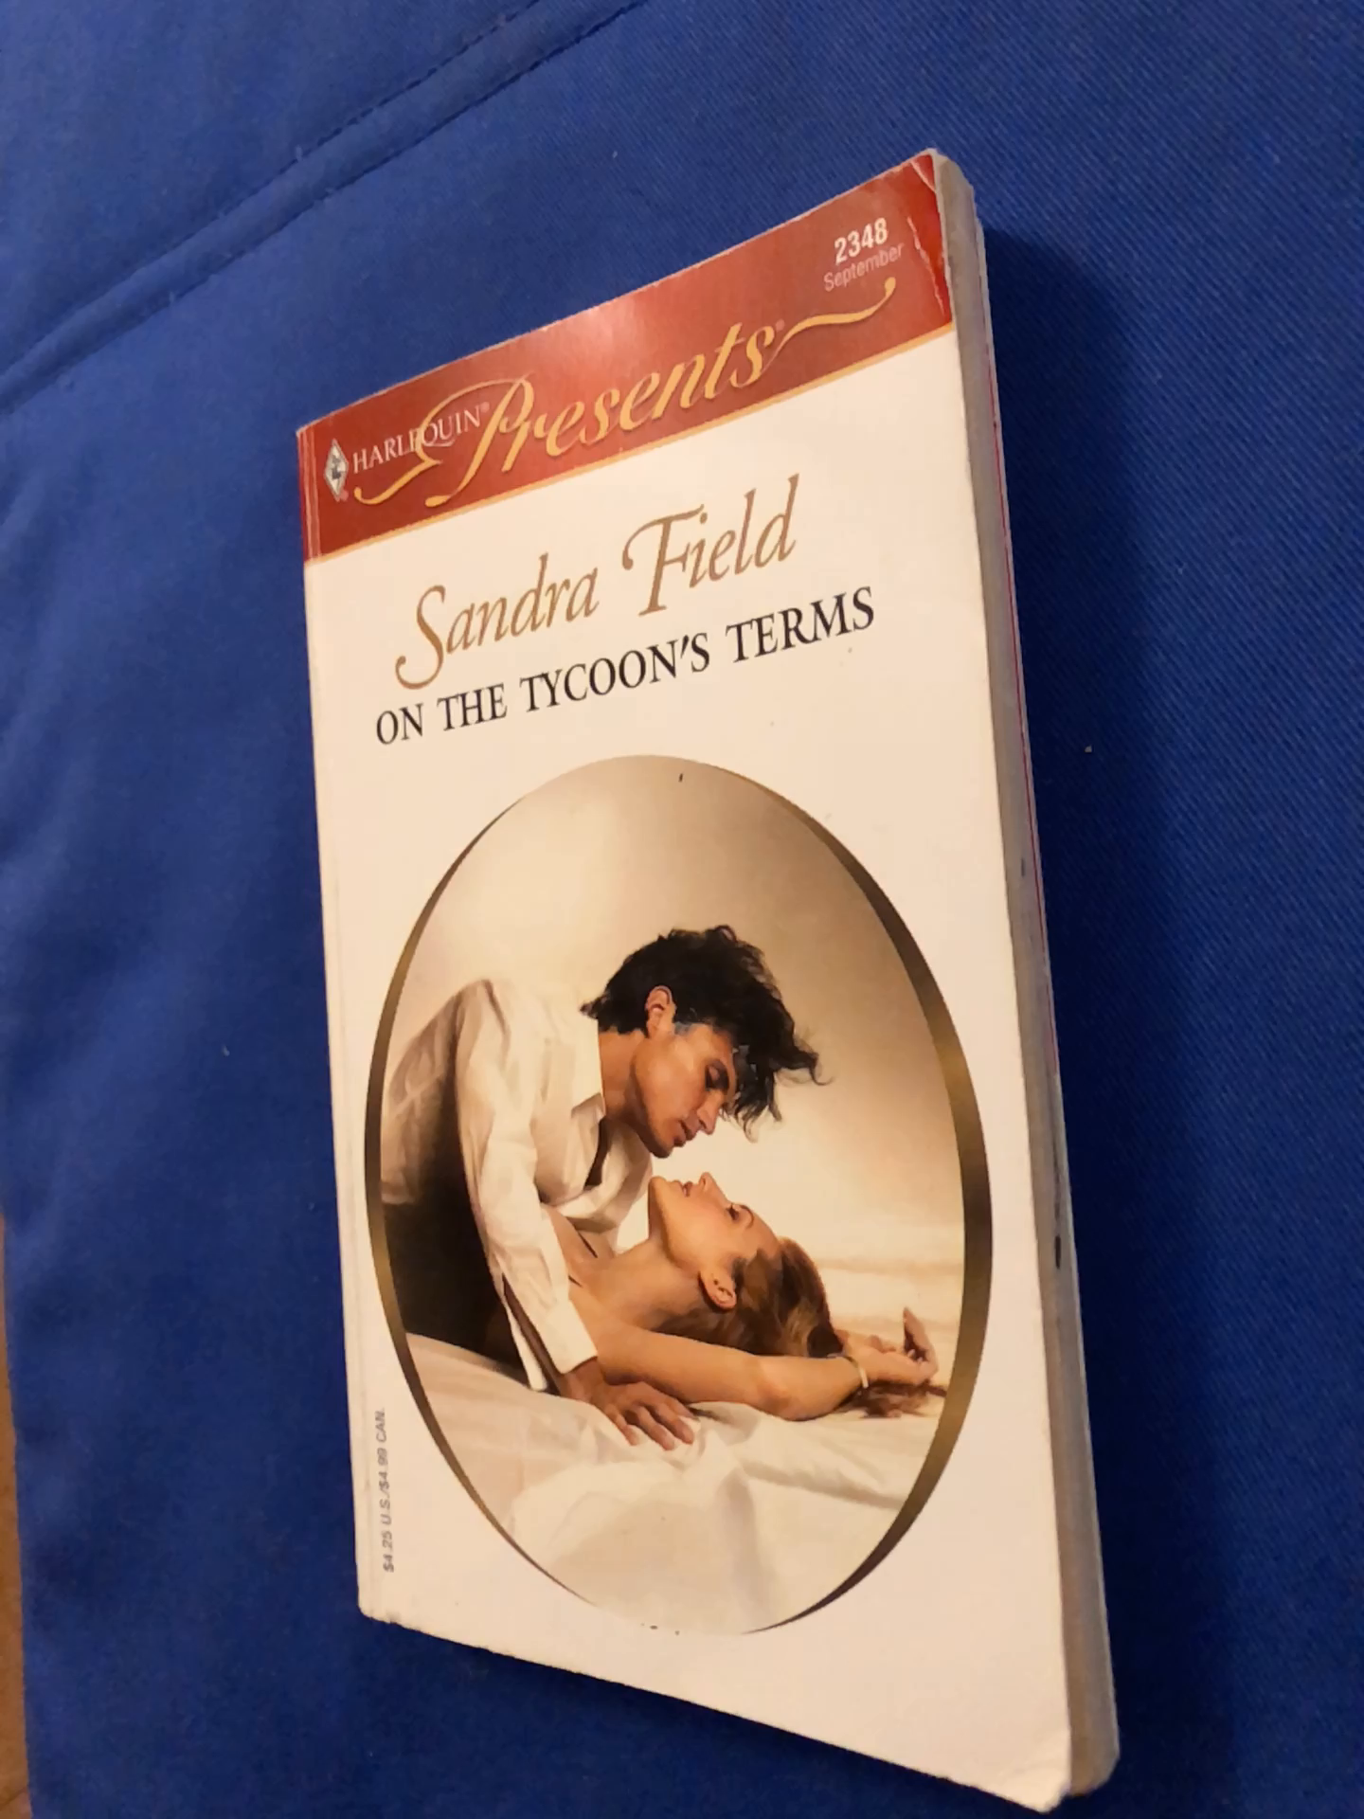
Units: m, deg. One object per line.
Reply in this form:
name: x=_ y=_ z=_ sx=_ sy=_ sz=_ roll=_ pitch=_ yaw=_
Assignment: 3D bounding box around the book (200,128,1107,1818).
book: x=-0.012 y=0.009 z=0.181 sx=0.108 sy=0.020 sz=0.157 roll=-7 pitch=85 yaw=37
